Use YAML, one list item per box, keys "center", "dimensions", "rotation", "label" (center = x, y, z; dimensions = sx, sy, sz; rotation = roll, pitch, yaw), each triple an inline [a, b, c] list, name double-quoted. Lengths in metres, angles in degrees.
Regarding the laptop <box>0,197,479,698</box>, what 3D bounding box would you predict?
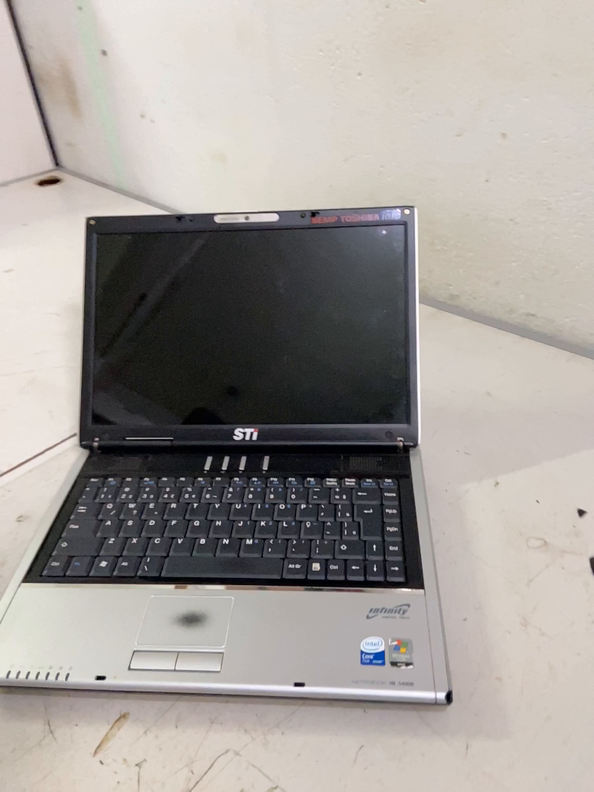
- center: [-0.058, 0.000, 0.500]
  dimensions: [0.325, 0.167, 0.388]
  rotation: [-1, 39, 6]
  label: "laptop"
